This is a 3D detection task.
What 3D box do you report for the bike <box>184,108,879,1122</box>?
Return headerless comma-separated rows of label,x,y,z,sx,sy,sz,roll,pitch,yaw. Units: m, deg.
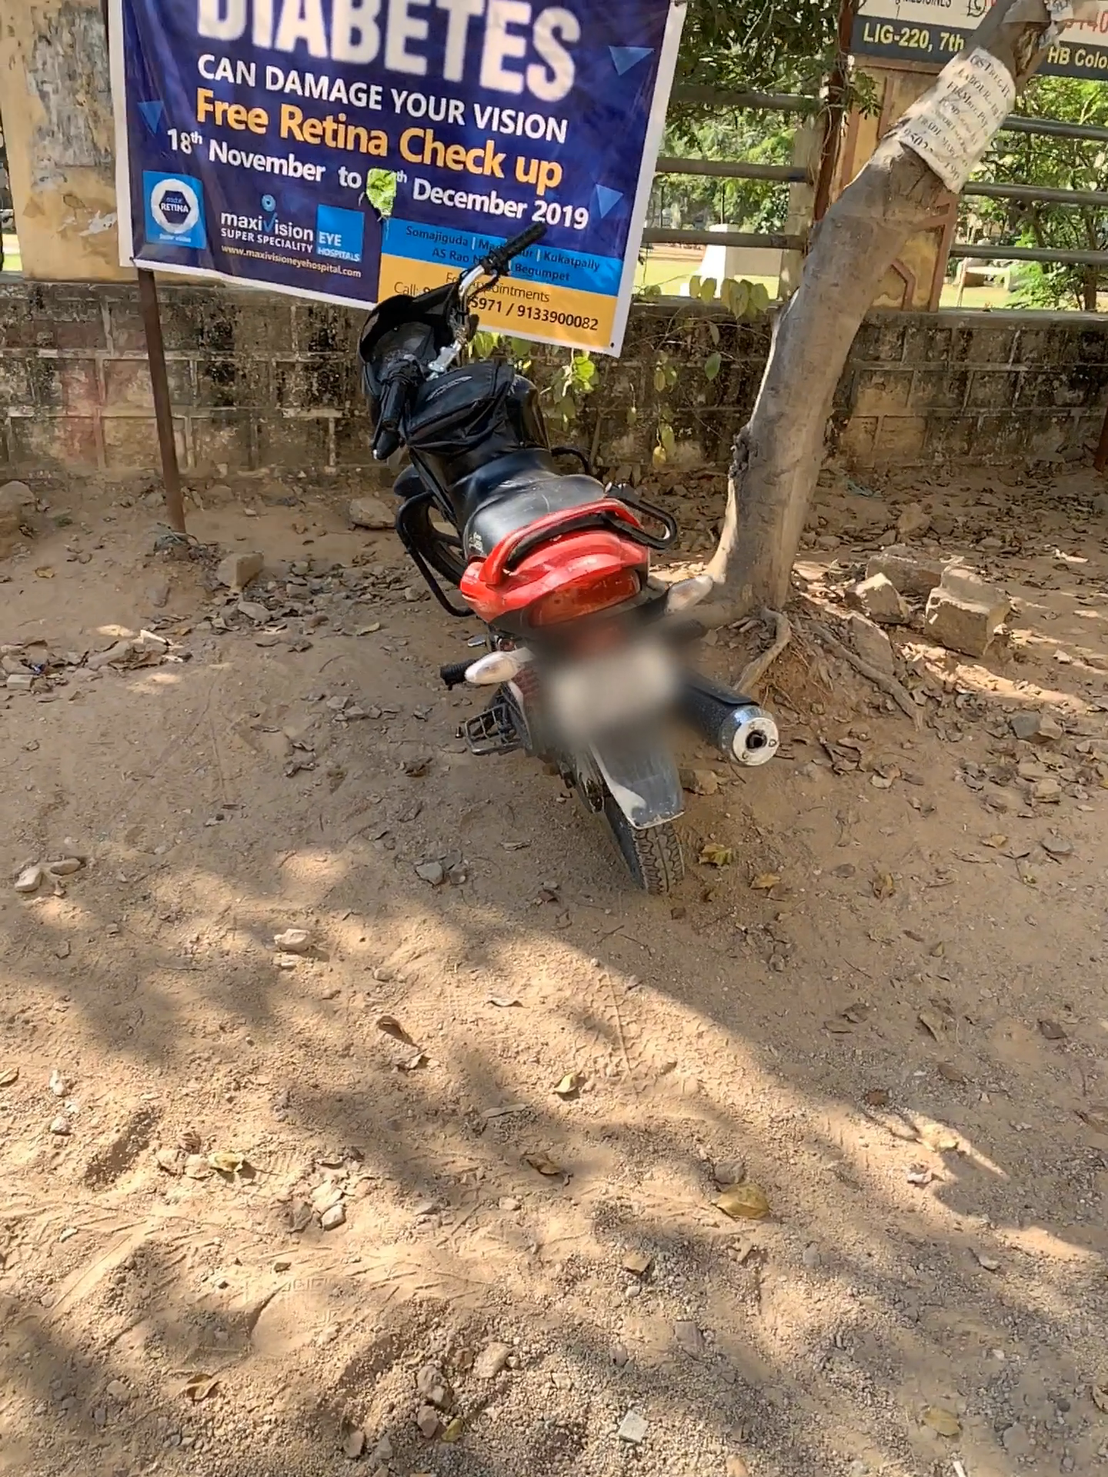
bike,-0.239,-0.431,2.432,0.752,1.442,1.622,-7,30,-21
